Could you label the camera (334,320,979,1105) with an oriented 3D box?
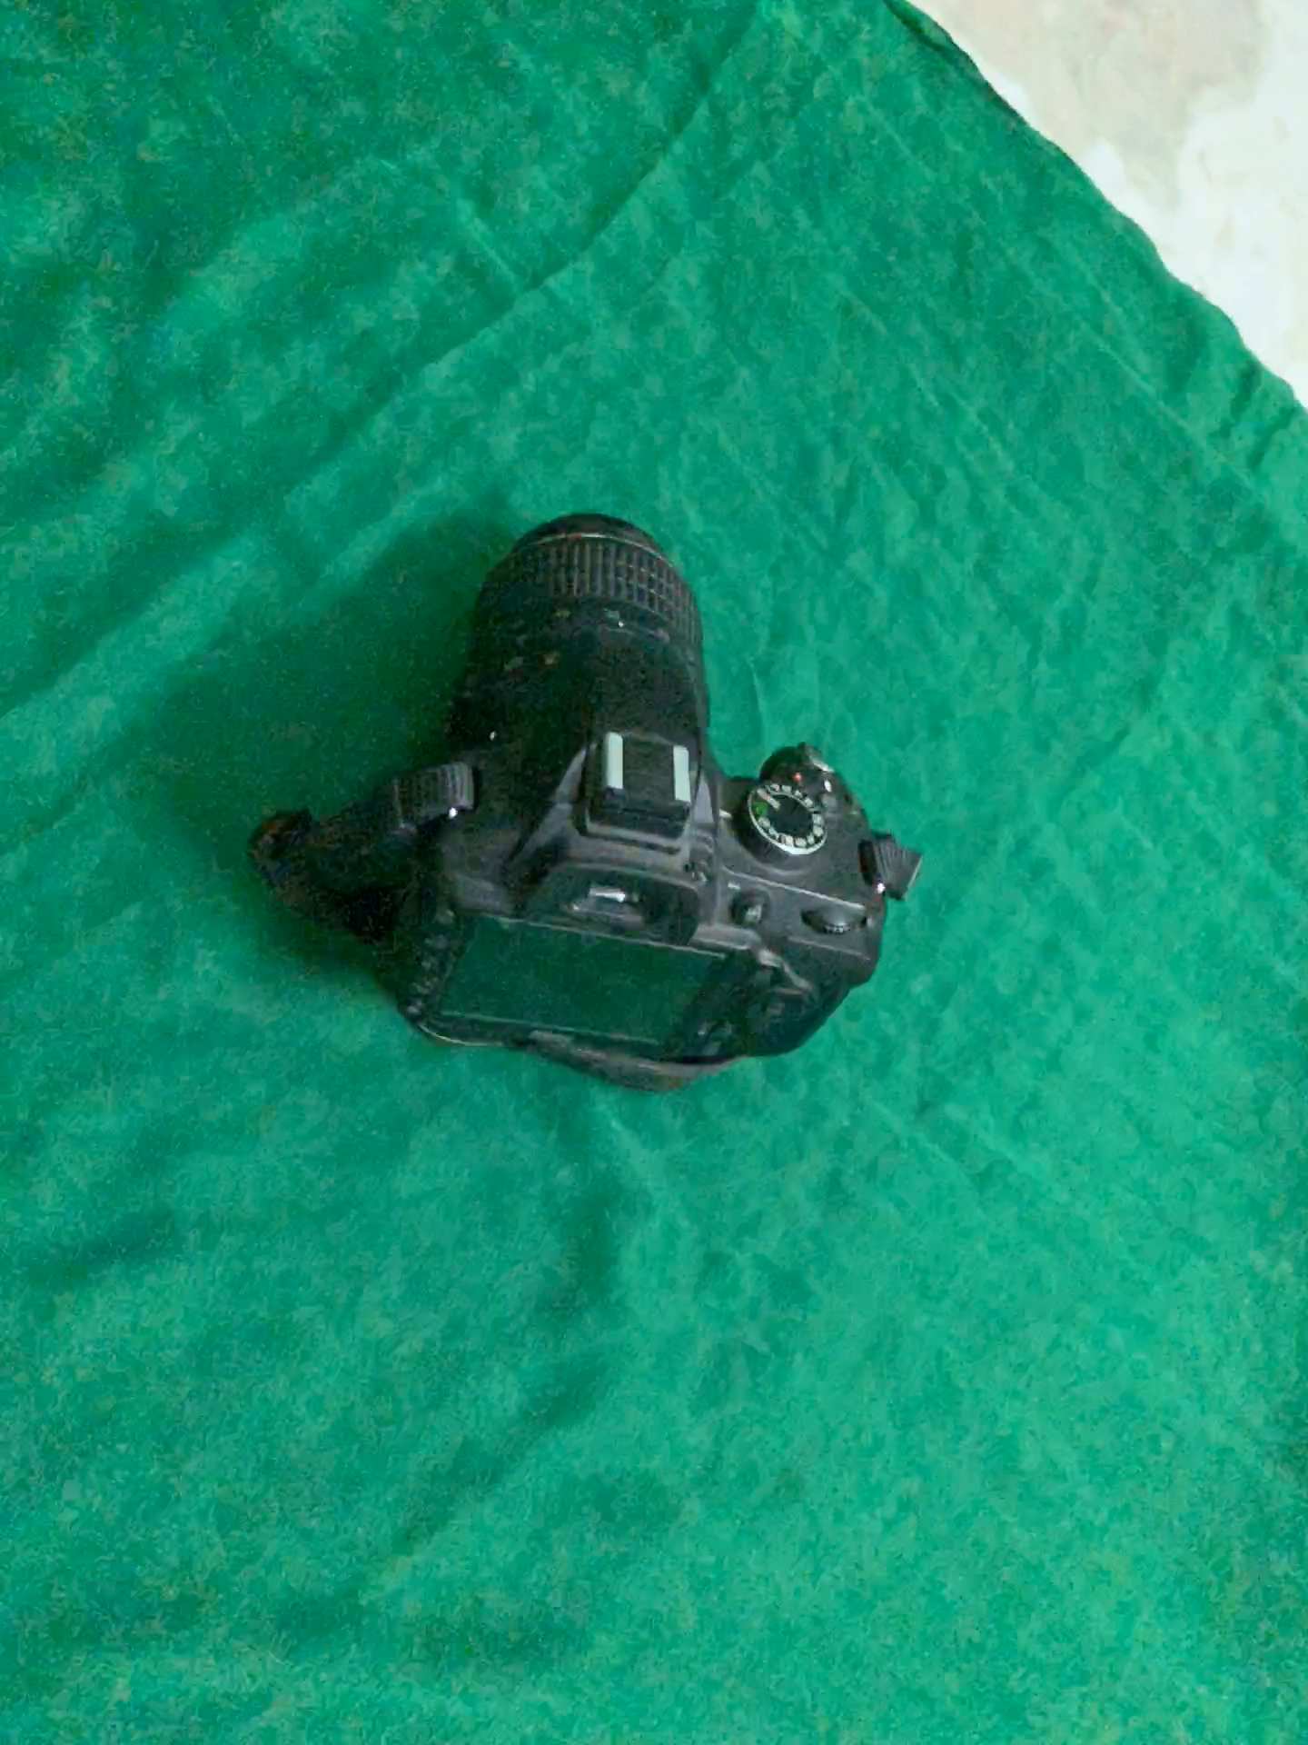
[{"bbox_3d":[-0.003,-0.041,0.380,0.133,0.100,0.166,13,56,-18],"label":"camera"}]
